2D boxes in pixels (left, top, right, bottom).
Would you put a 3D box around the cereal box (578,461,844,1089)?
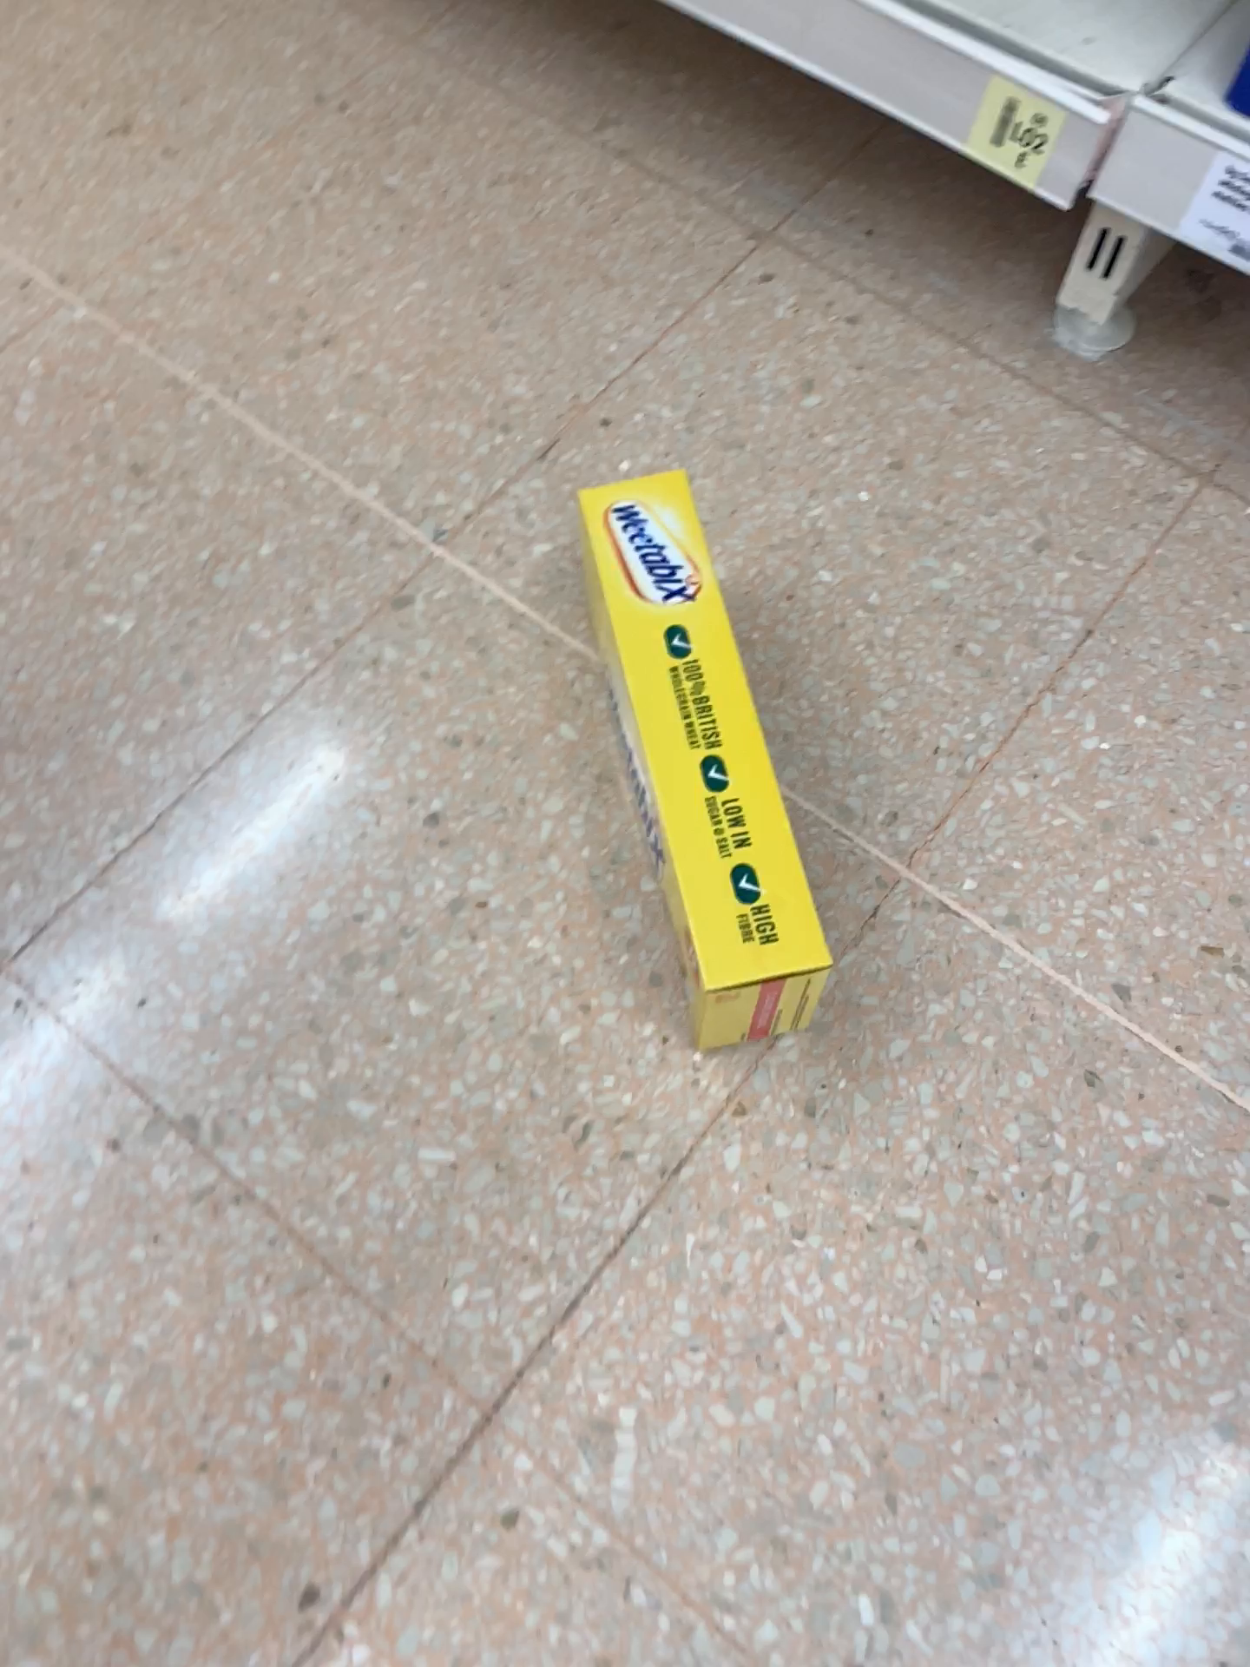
[{"bbox_3d":[0.031,-0.029,0.568,0.050,0.100,0.261,-11,65,-4],"label":"cereal box"}]
